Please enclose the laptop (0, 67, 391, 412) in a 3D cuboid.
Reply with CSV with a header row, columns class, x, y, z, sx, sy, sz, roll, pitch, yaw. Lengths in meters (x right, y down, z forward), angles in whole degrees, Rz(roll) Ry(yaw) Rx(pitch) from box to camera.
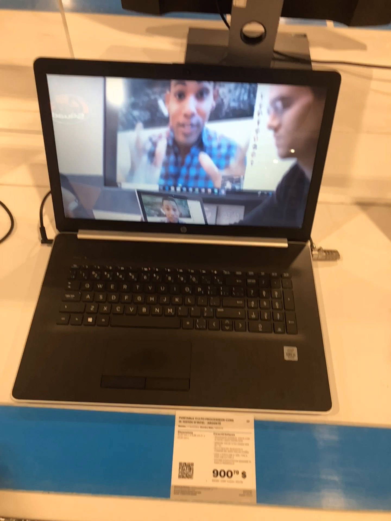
class,x,y,z,sx,sy,sz,roll,pitch,yaw
laptop,-0.023,-0.035,0.573,0.410,0.243,0.381,3,54,0
